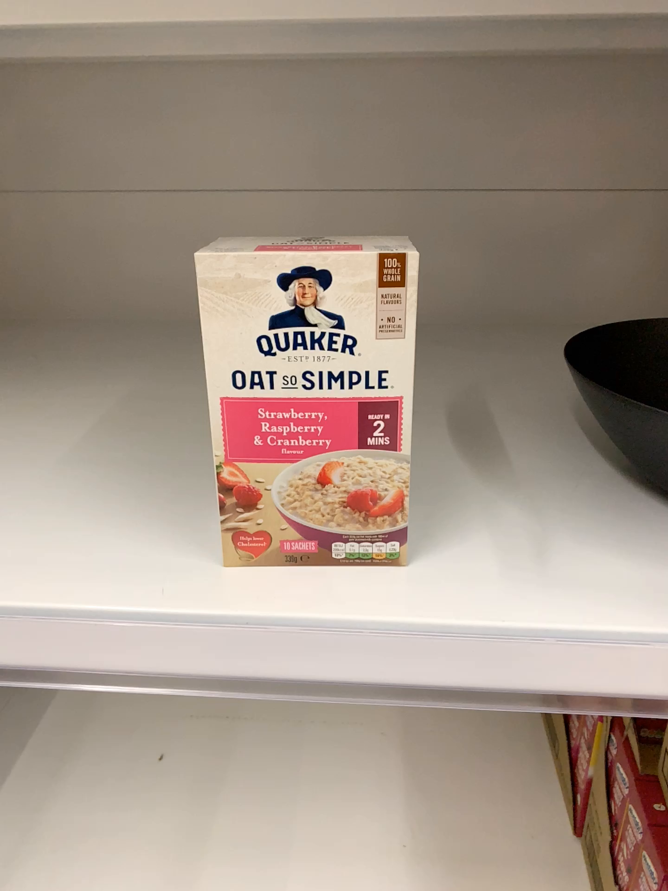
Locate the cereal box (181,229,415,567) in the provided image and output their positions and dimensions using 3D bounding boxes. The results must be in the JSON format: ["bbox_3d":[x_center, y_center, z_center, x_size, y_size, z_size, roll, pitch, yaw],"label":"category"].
[{"bbox_3d":[-0.019,-0.031,0.459,0.130,0.208,0.081,0,23,0],"label":"cereal box"}]
